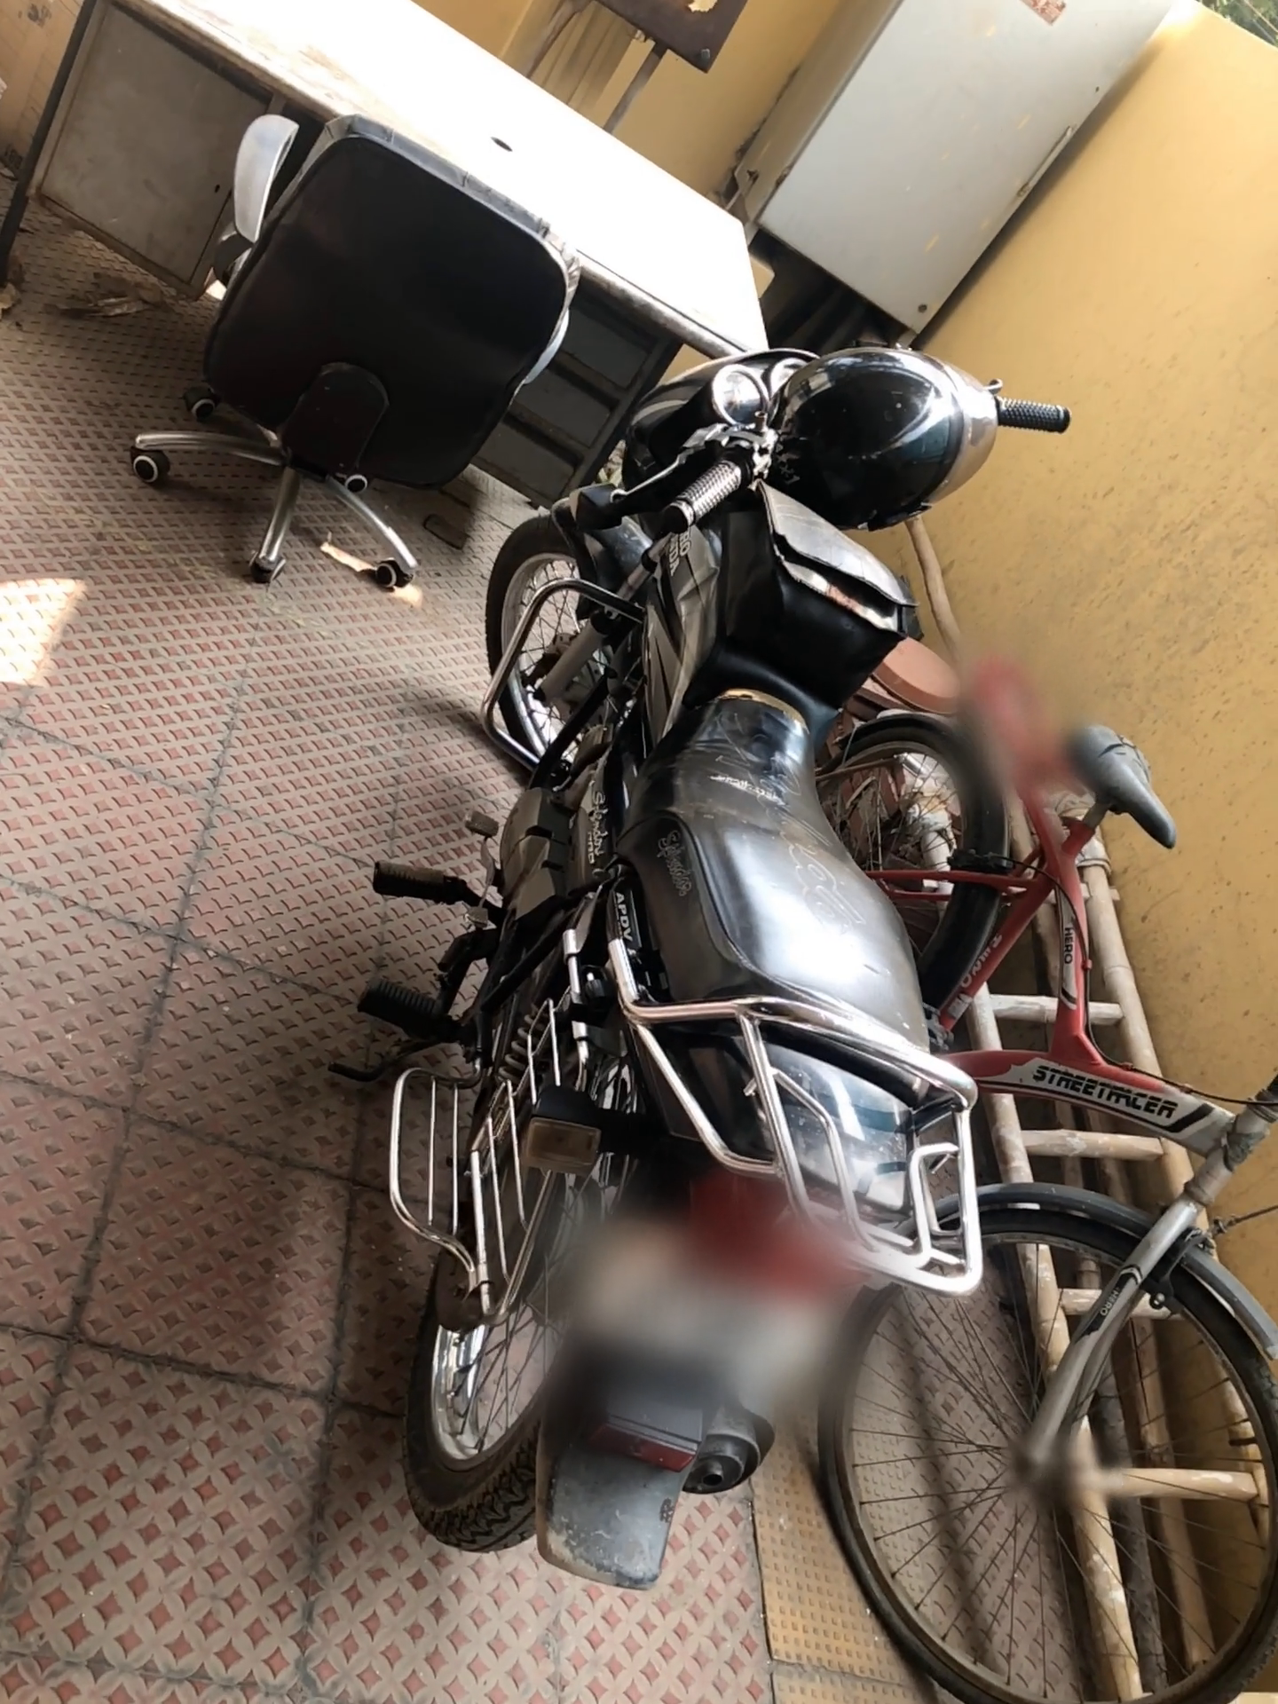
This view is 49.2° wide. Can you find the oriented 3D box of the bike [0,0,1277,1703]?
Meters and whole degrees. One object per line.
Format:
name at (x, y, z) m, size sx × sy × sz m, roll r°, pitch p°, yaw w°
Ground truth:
bike at (-0.082, -0.143, 1.659) m, size 0.713 × 1.028 × 1.622 m, roll 24°, pitch 35°, yaw -25°
